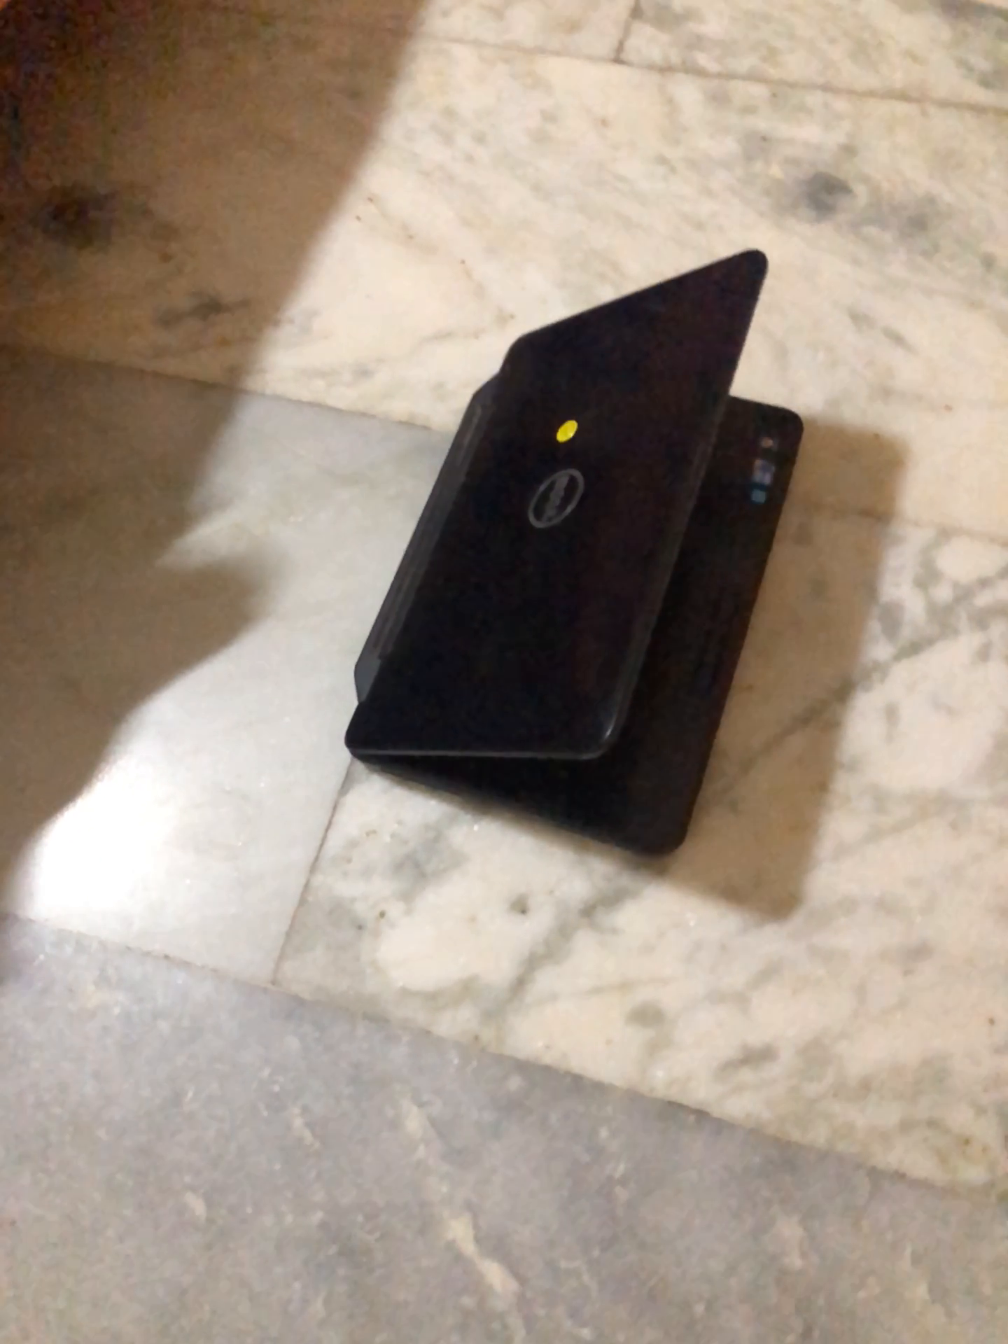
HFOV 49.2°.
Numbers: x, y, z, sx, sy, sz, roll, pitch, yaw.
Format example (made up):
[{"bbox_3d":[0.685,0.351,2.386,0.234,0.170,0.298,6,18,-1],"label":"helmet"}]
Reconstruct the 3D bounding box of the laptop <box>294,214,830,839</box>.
[{"bbox_3d":[0.052,-0.104,0.739,0.234,0.161,0.352,14,66,12],"label":"laptop"}]
